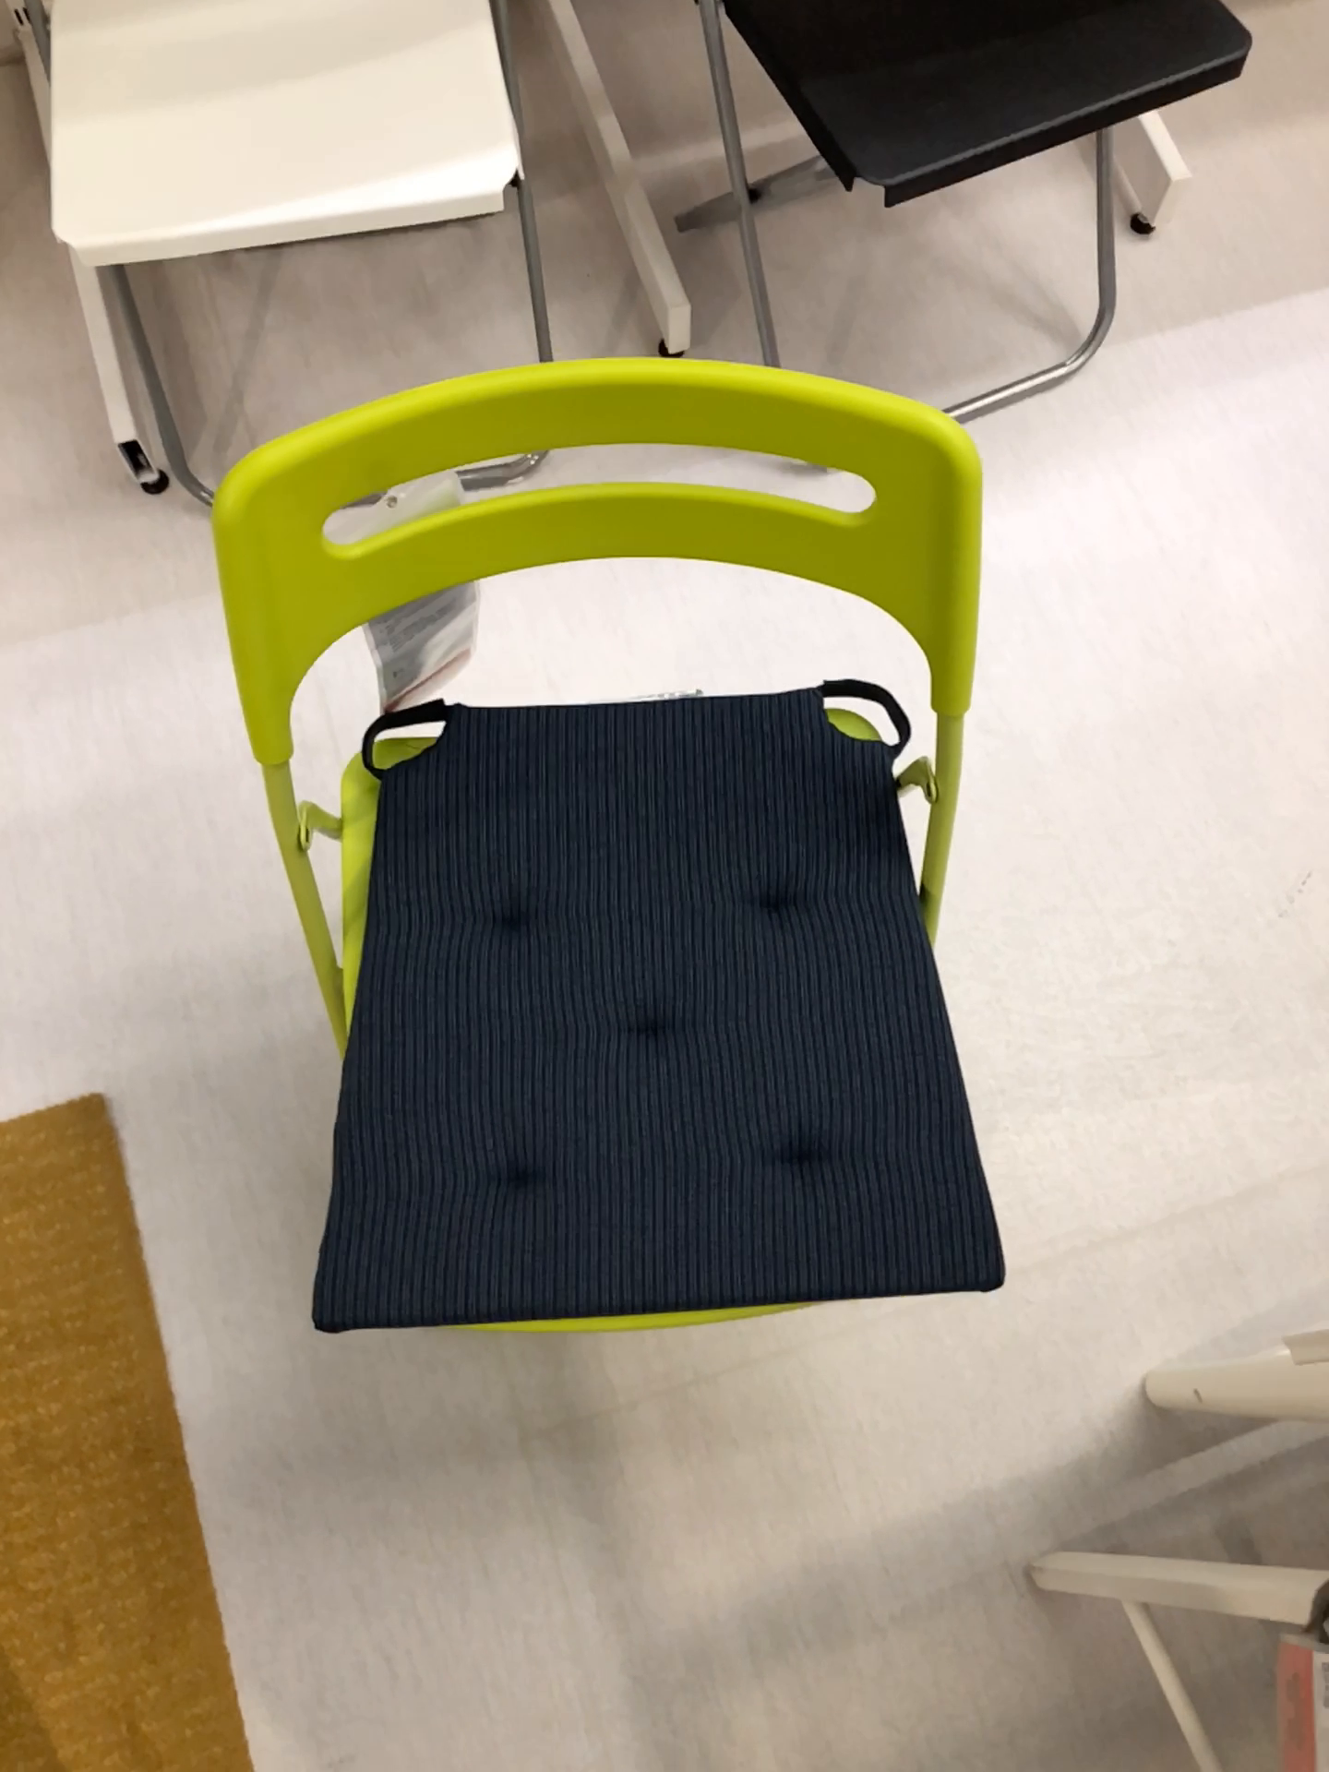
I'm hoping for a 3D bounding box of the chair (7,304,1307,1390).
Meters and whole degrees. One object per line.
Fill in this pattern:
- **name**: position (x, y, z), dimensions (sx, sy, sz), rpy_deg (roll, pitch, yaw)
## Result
- **chair**: position (-0.019, 0.056, 0.927), dimensions (0.490, 0.638, 0.461), rpy_deg (-4, 71, -2)
